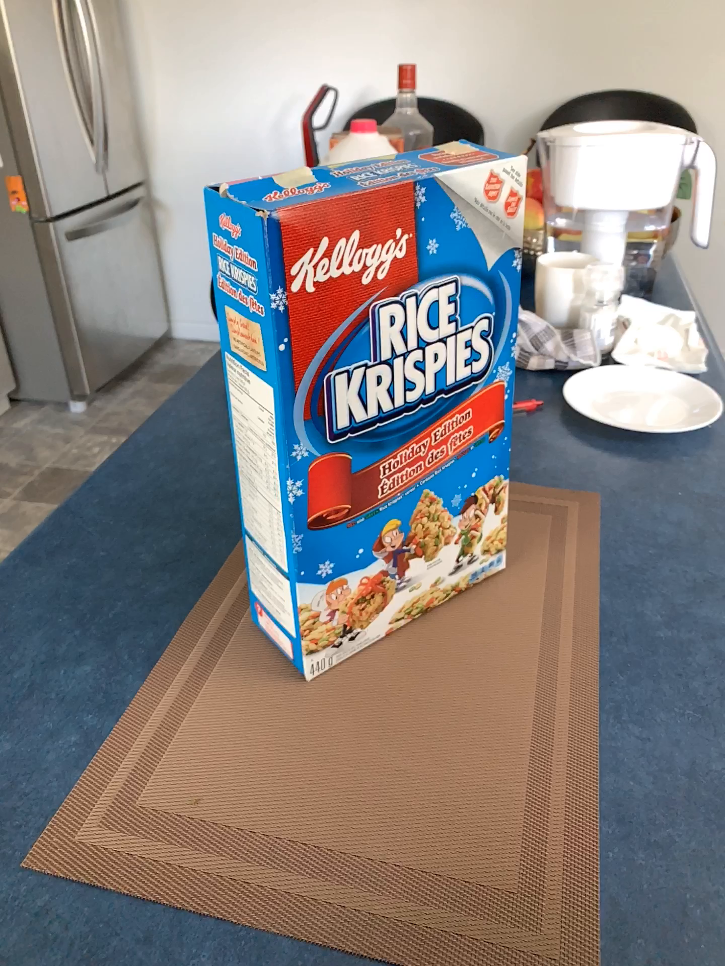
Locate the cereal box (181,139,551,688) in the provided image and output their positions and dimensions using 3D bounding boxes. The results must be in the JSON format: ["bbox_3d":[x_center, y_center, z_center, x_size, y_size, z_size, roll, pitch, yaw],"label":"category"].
[{"bbox_3d":[0.016,-0.051,0.528,0.221,0.327,0.080,-23,35,-32],"label":"cereal box"}]
